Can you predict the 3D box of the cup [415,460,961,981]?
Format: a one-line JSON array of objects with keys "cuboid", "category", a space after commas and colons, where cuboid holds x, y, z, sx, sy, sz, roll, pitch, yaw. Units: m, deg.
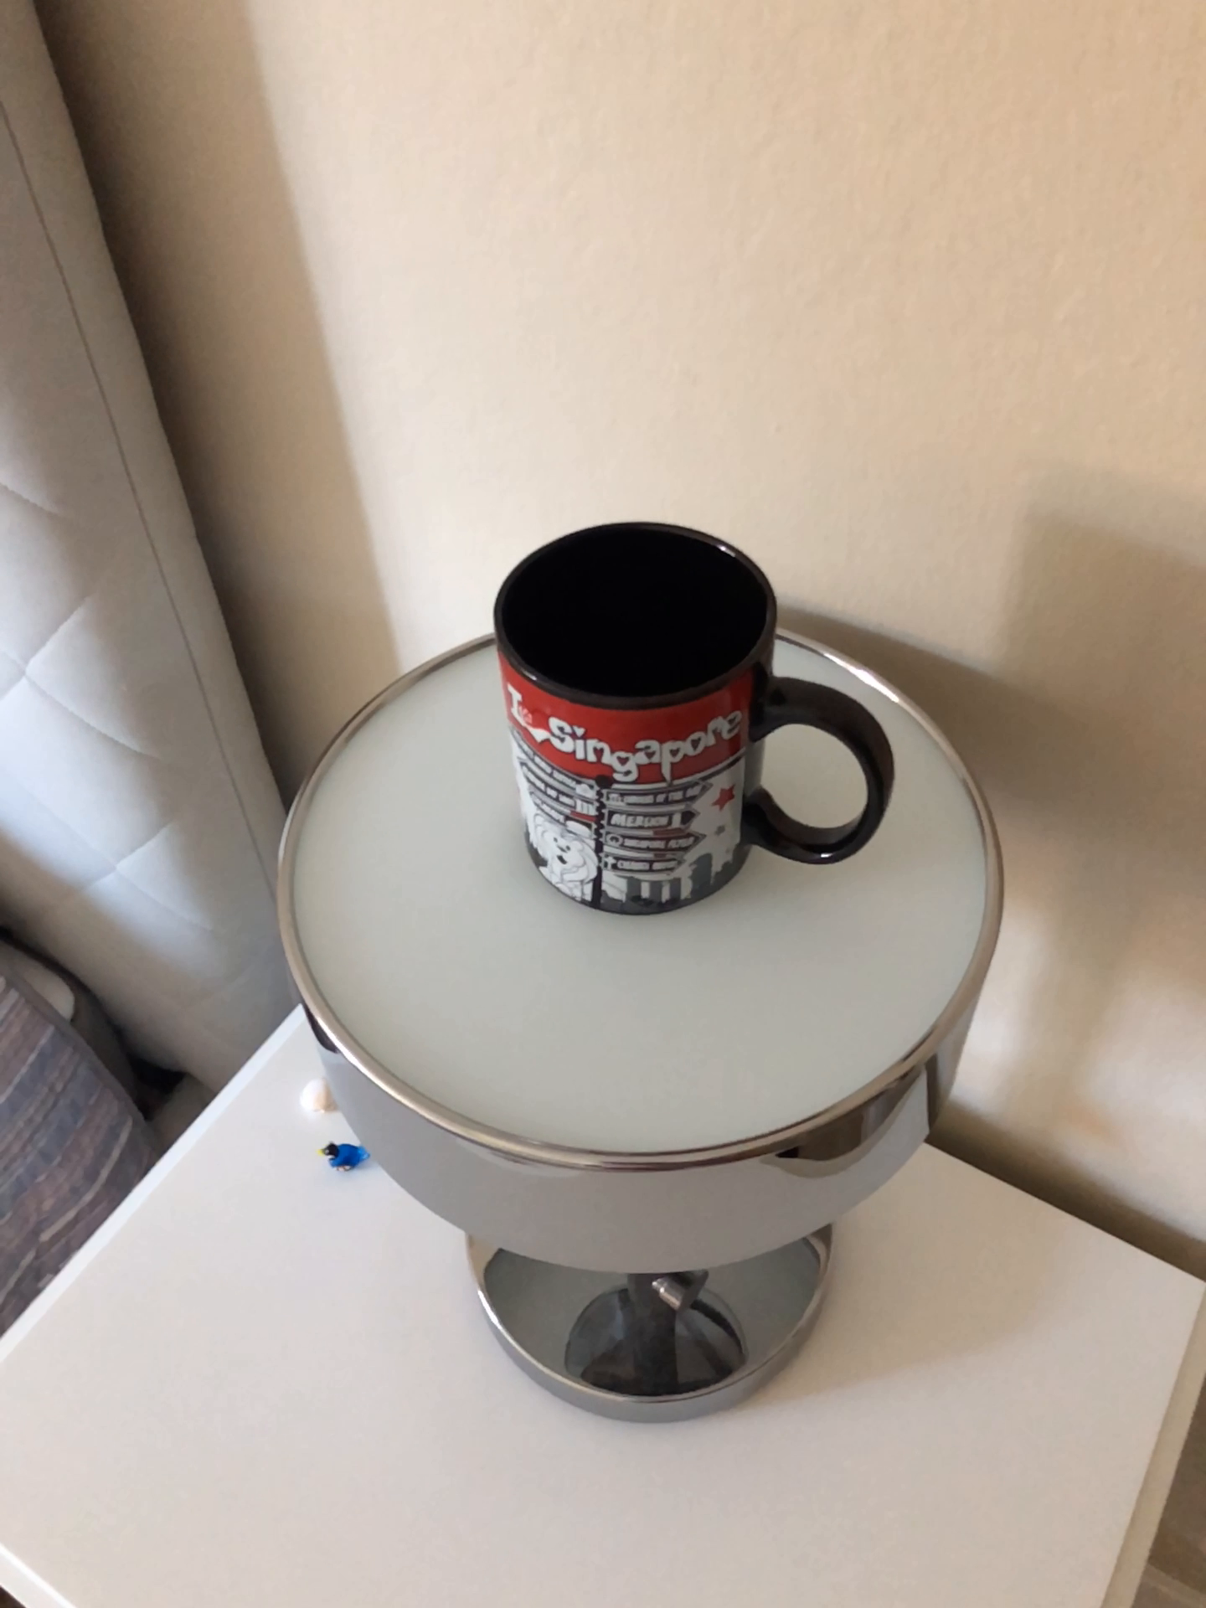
[{"cuboid": [0.028, -0.027, 0.404, 0.130, 0.100, 0.090, 13, 49, 14], "category": "cup"}]
